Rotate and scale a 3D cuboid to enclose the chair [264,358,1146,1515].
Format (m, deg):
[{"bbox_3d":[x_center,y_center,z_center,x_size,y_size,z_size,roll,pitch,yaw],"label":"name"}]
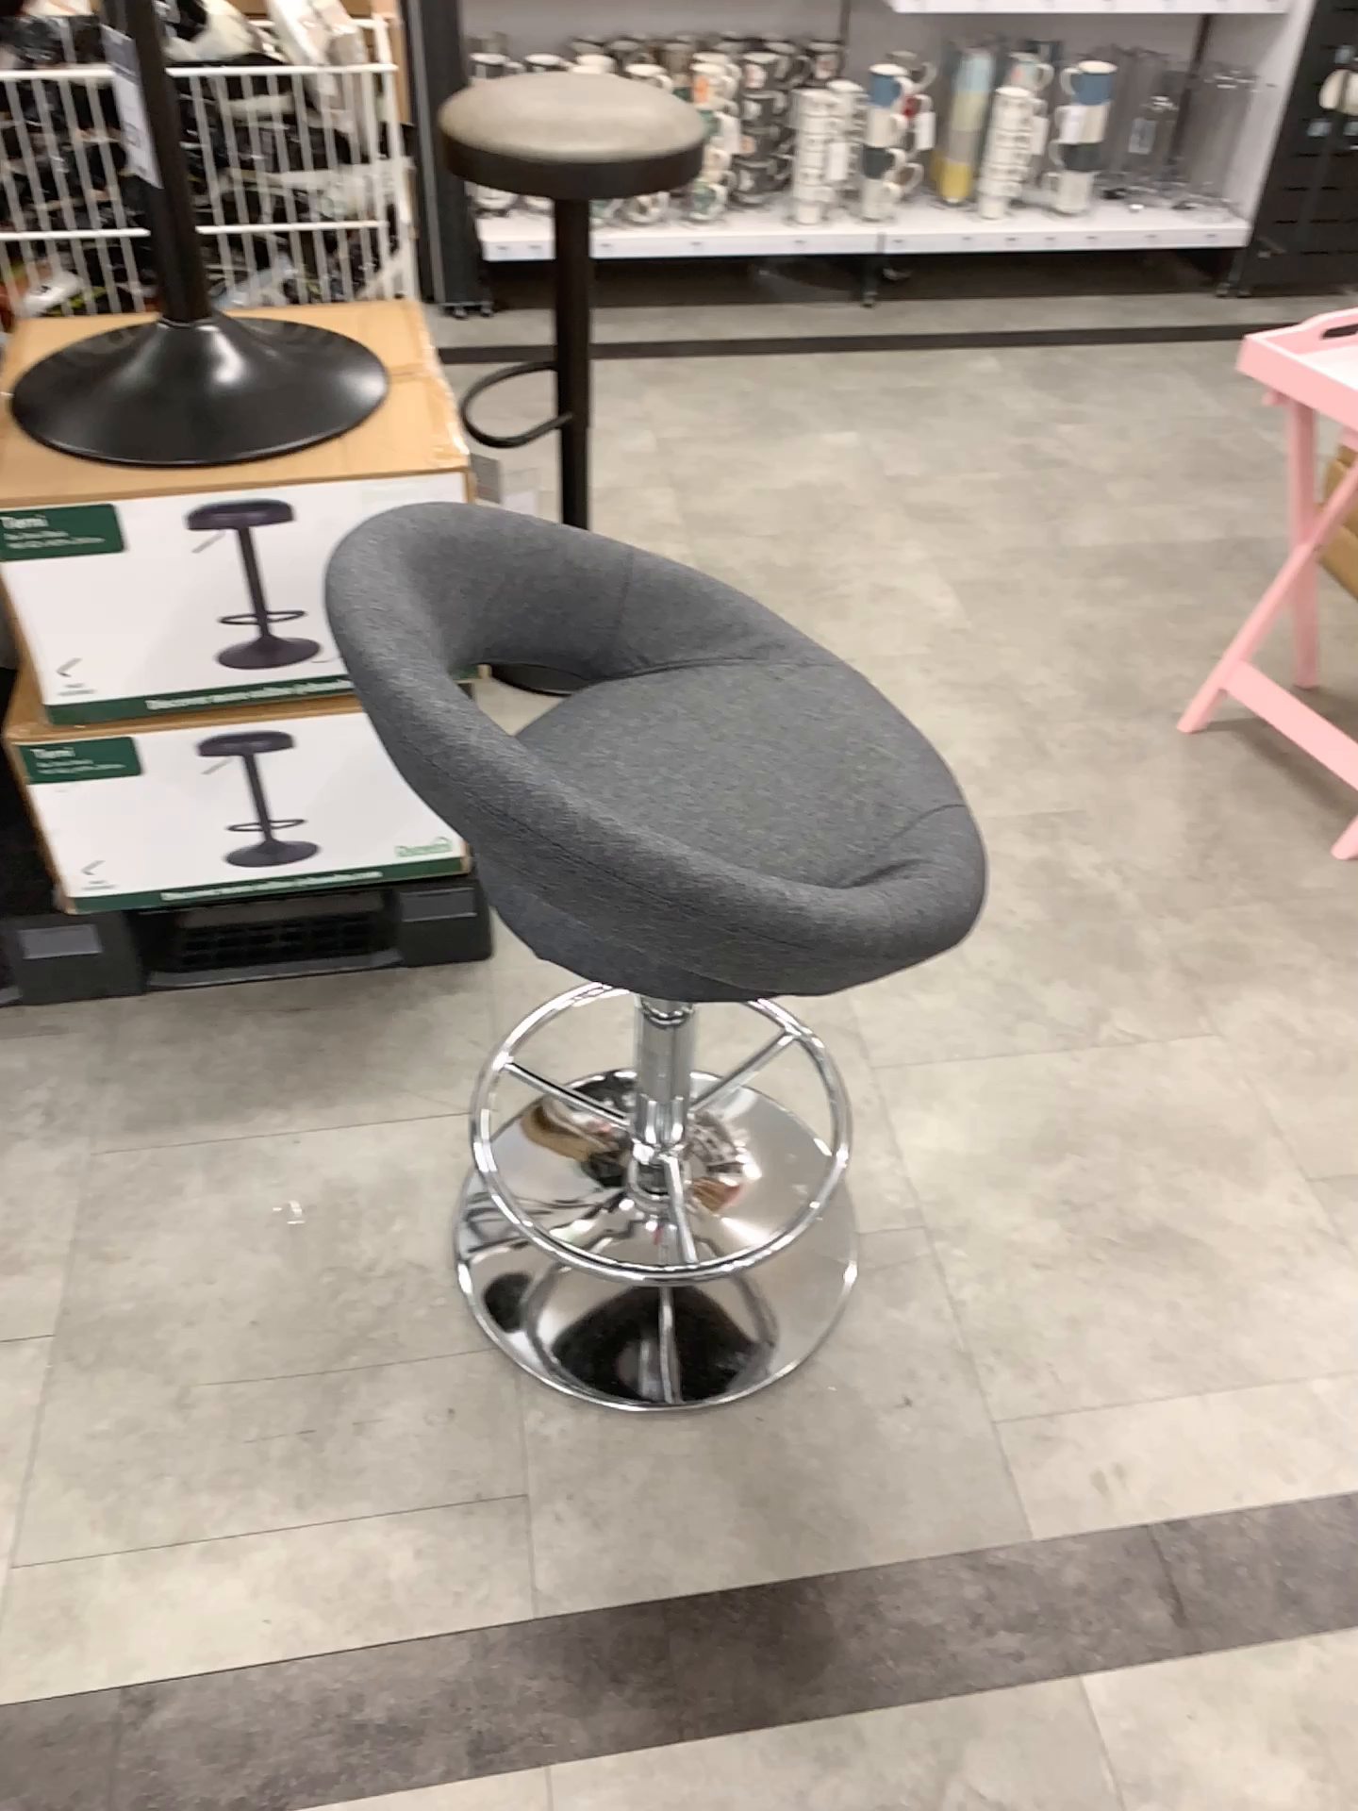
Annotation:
[{"bbox_3d":[-0.042,0.033,1.220,0.485,0.787,0.551,-8,43,-12],"label":"chair"}]
